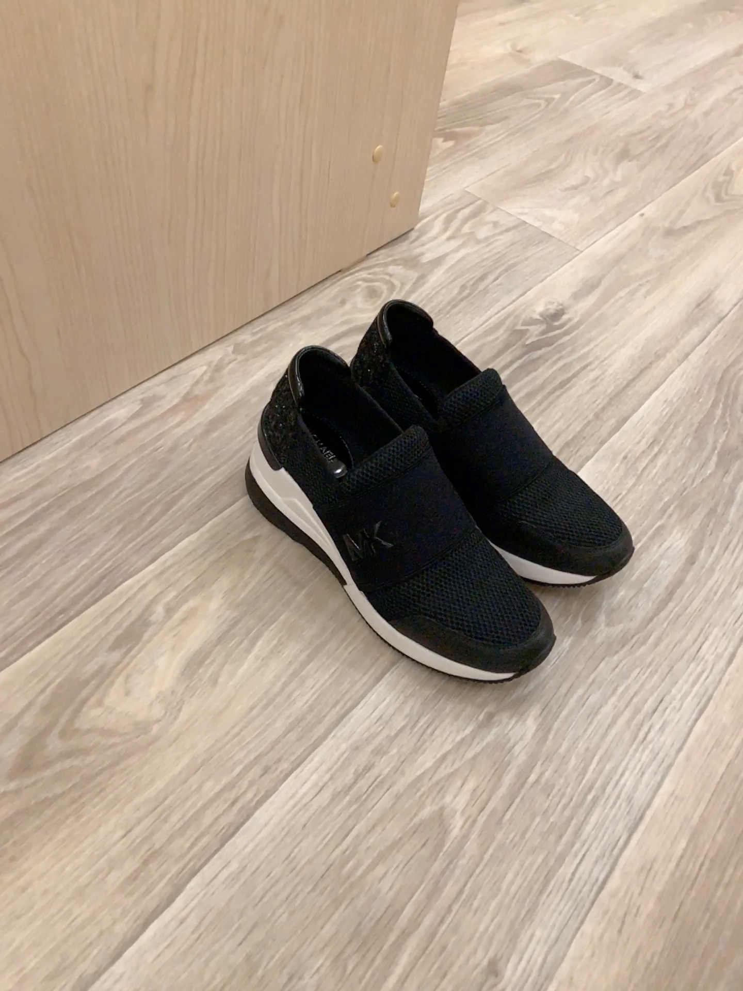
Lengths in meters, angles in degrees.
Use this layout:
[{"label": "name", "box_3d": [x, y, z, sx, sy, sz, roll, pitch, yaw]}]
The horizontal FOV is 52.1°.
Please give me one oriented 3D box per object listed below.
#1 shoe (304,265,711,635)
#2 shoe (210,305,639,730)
[{"label": "shoe", "box_3d": [0.083, -0.040, 0.555, 0.260, 0.119, 0.099, 37, 53, 21]}, {"label": "shoe", "box_3d": [0.018, 0.006, 0.500, 0.260, 0.119, 0.099, 39, 54, 22]}]
